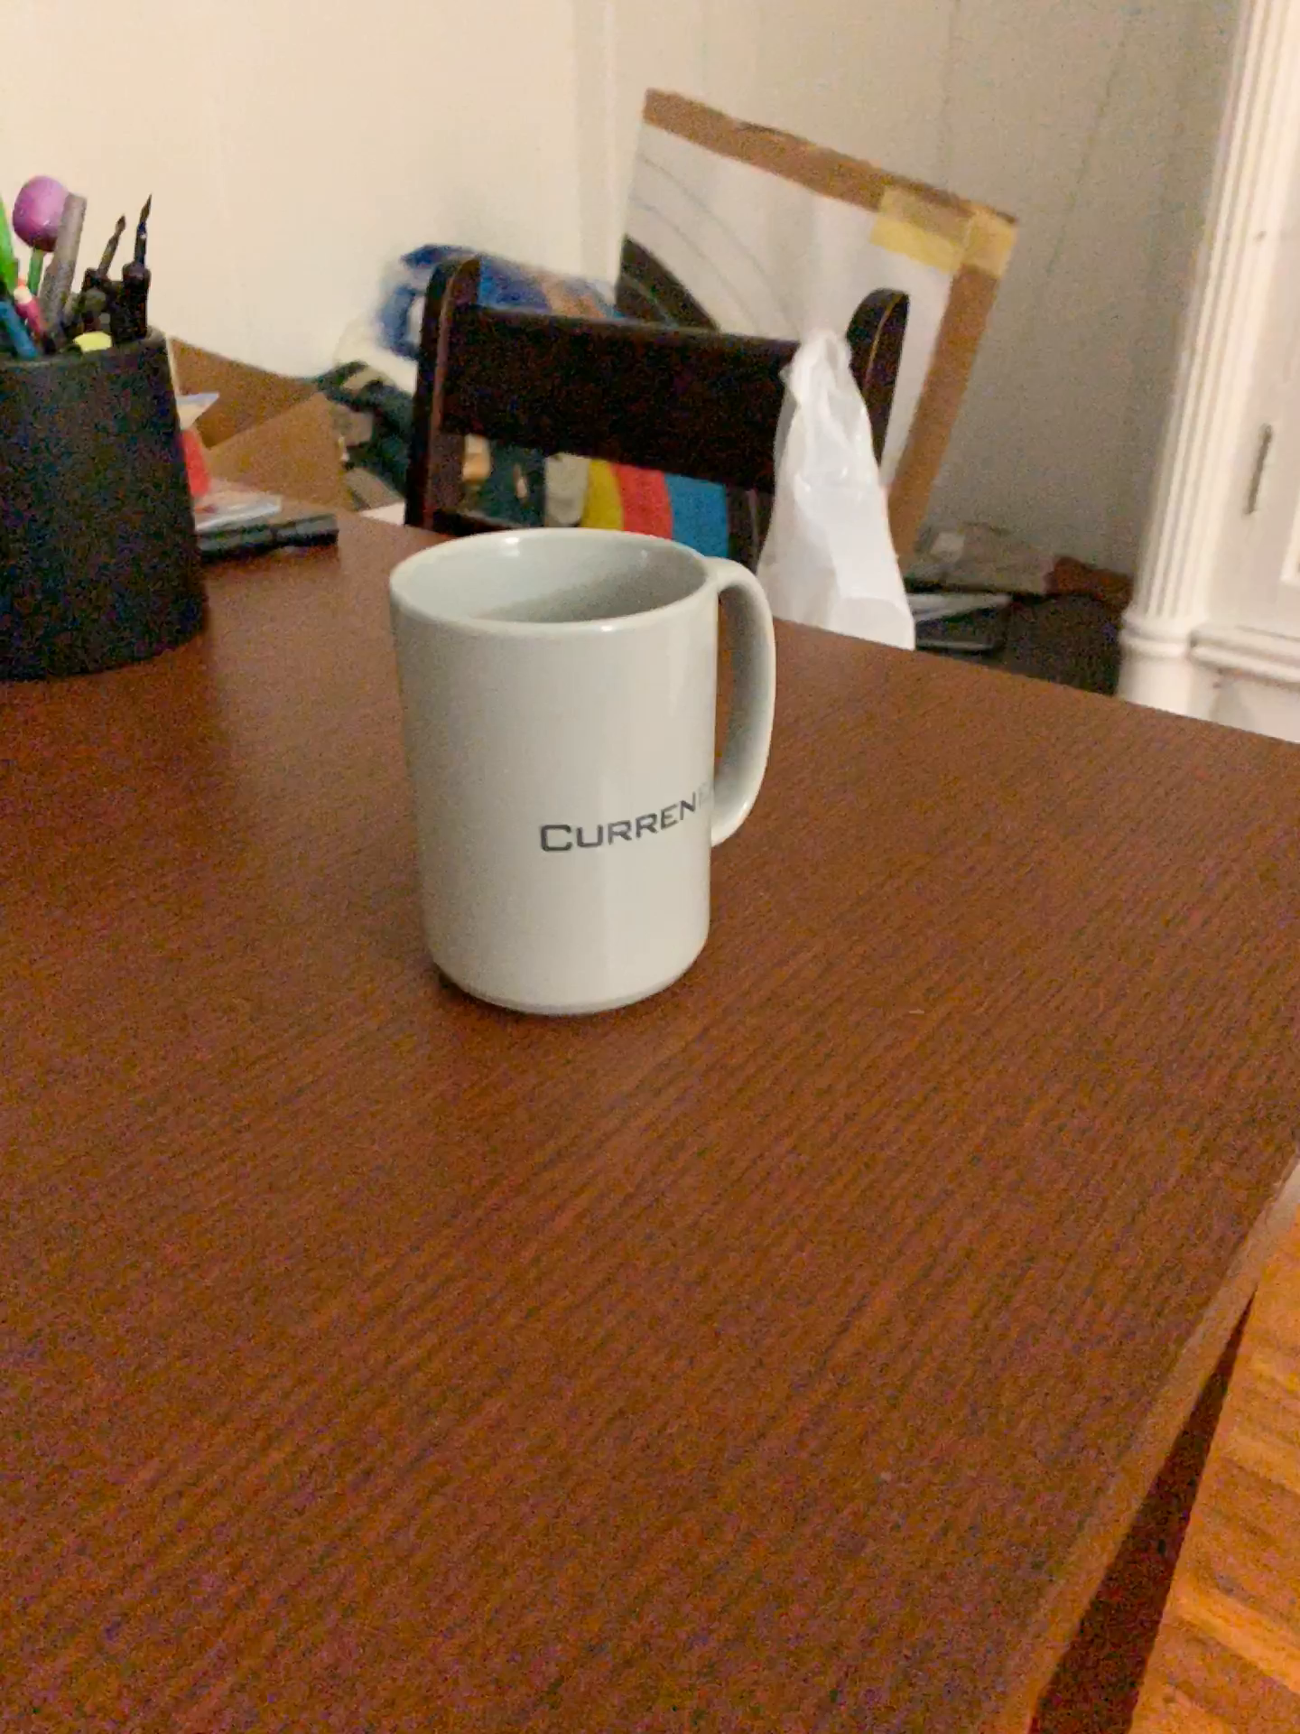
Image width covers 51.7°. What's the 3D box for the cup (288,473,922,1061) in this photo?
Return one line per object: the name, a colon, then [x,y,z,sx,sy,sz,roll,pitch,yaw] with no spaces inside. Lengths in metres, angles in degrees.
cup: [-0.011,-0.039,0.390,0.140,0.109,0.100,-23,36,-34]
